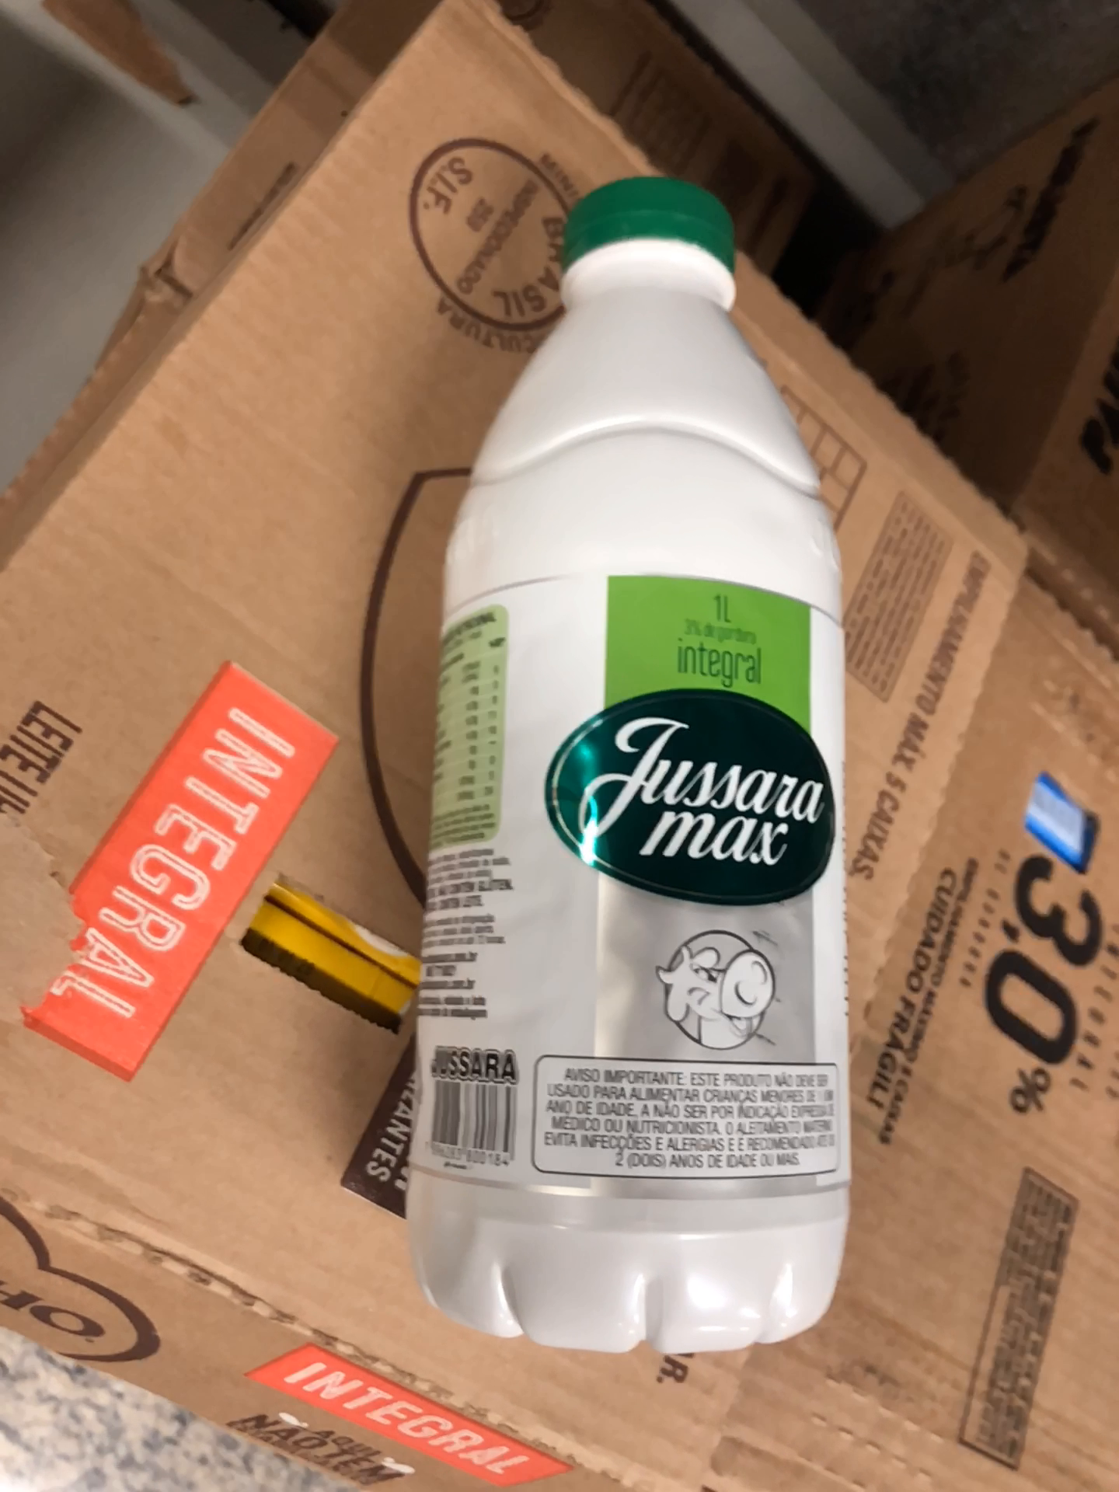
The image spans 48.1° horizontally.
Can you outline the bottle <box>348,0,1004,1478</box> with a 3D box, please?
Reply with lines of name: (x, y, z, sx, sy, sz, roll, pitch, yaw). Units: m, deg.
bottle: (0.025, -0.004, 0.244, 0.090, 0.060, 0.240, 9, 82, -27)
